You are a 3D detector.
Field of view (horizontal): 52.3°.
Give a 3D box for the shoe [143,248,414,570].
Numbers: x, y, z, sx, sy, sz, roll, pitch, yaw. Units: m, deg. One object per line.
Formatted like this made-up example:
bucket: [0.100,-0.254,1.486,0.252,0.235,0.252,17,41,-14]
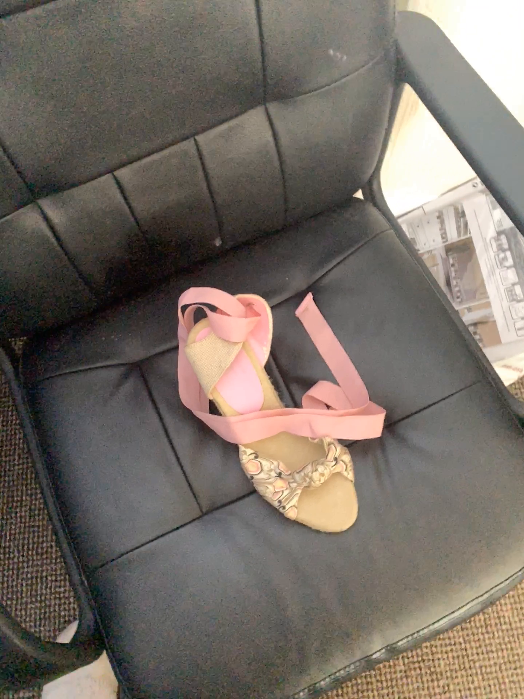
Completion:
shoe: [0.007,0.060,0.525,0.100,0.140,0.271,-32,73,-10]
